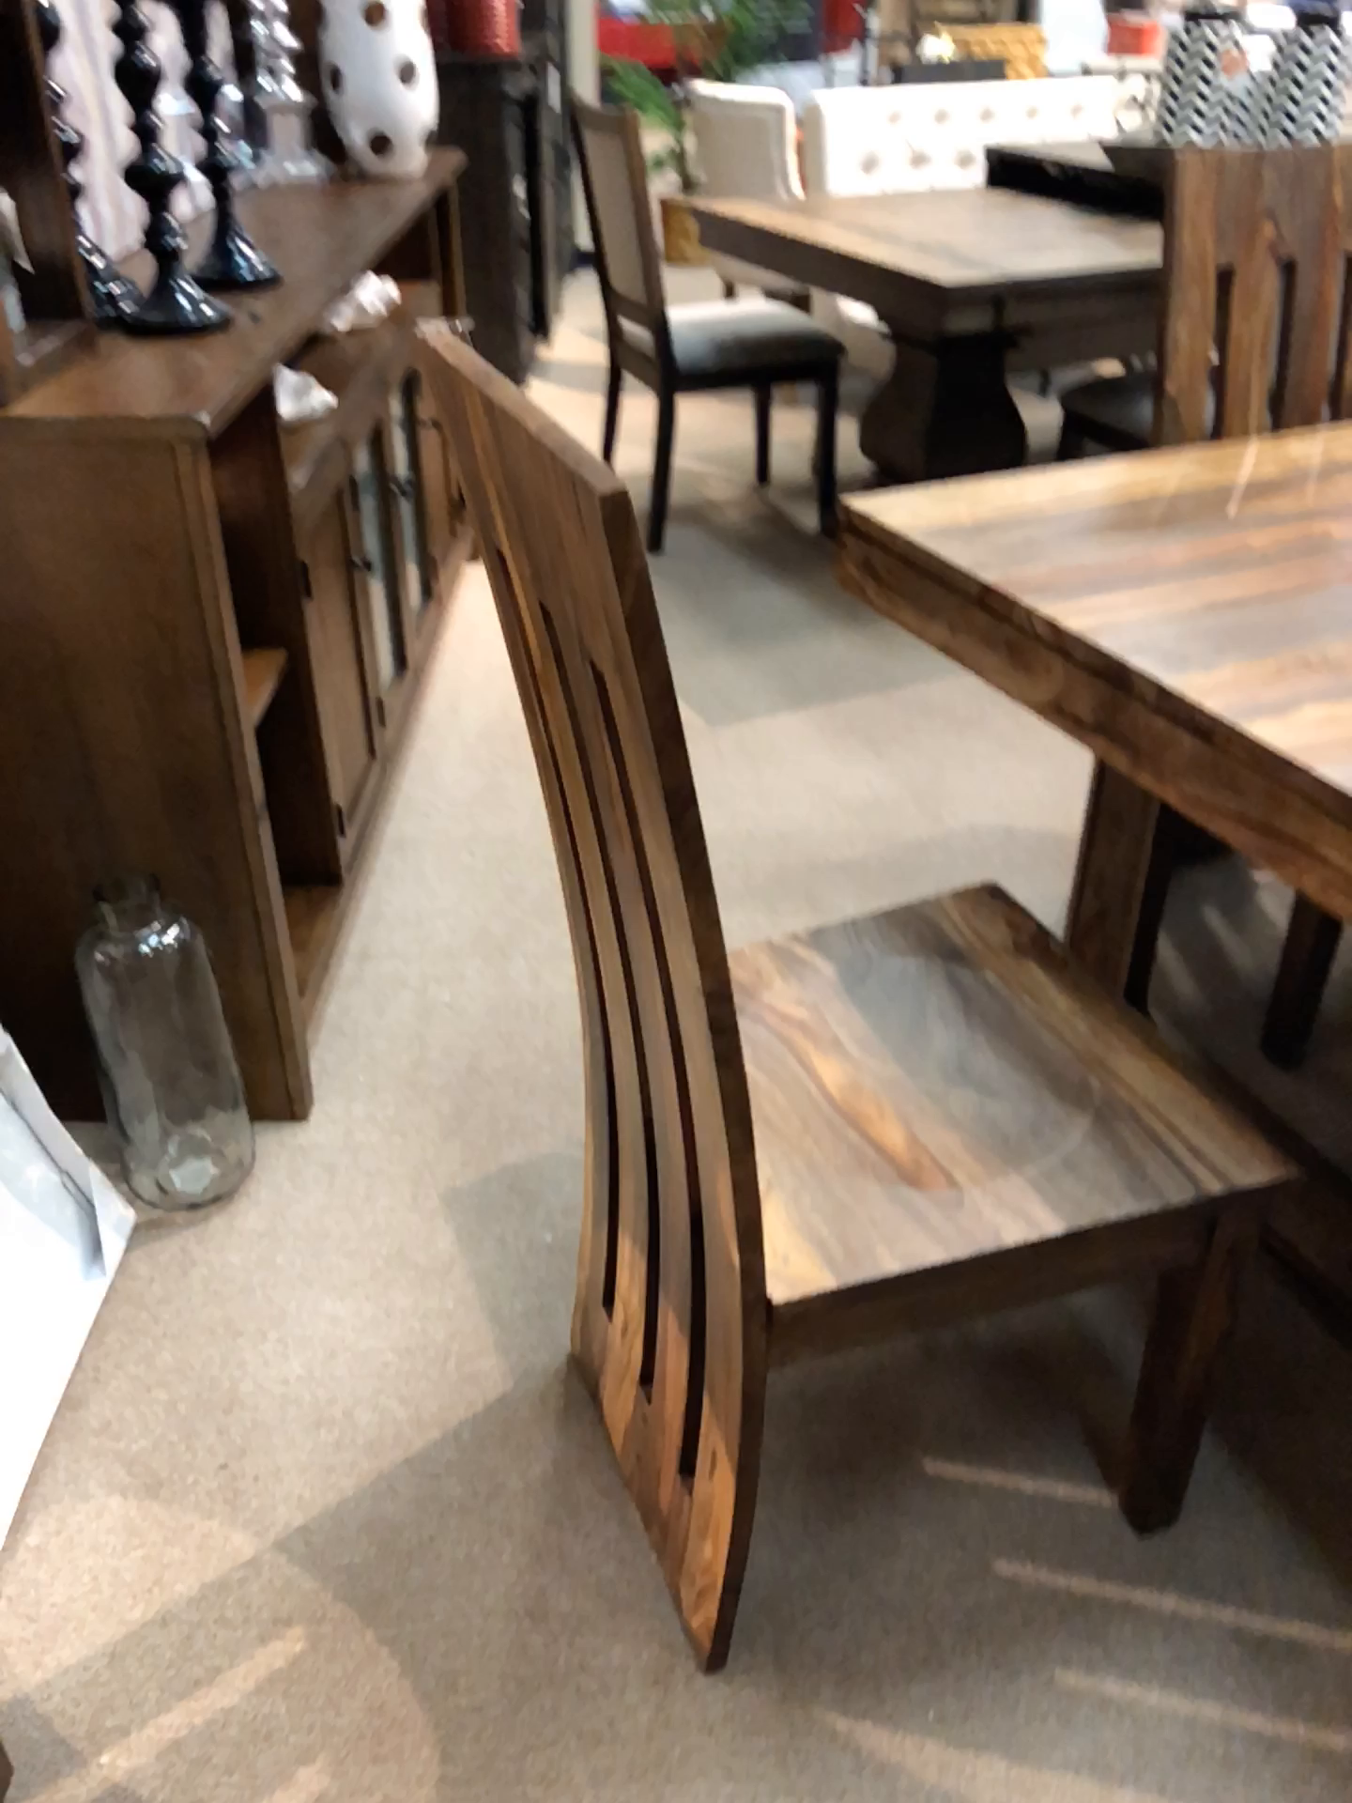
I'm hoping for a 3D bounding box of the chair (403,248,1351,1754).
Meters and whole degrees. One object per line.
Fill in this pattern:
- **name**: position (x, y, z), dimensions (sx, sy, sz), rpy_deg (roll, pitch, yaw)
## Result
- **chair**: position (0.170, 0.074, 1.219), dimensions (0.590, 1.023, 0.513), rpy_deg (-12, 35, -18)
